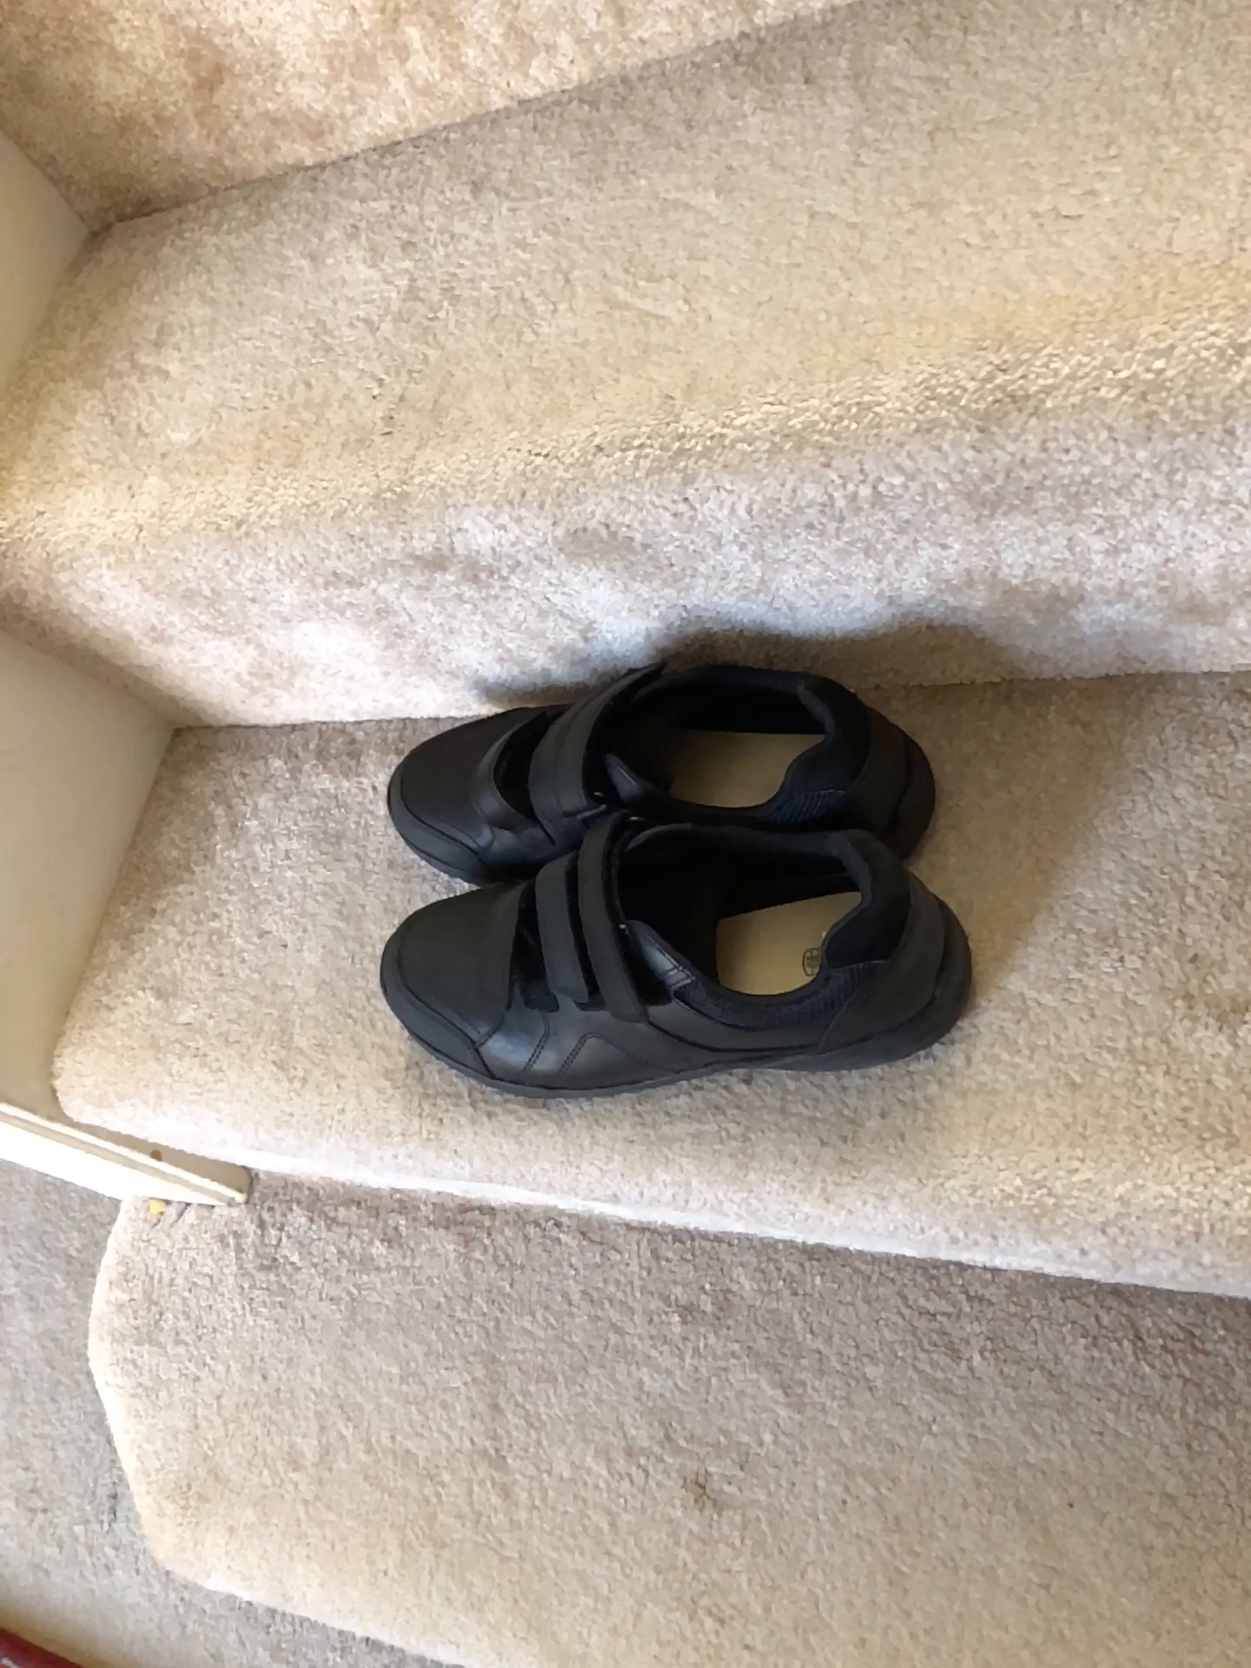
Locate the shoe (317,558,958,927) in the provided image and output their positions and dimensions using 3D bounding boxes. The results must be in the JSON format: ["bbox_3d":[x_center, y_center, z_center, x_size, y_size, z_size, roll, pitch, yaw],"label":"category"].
[{"bbox_3d":[0.007,-0.032,0.638,0.270,0.099,0.100,-6,60,25],"label":"shoe"}]

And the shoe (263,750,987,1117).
[{"bbox_3d":[0.001,0.051,0.565,0.270,0.099,0.100,-6,60,25],"label":"shoe"}]
